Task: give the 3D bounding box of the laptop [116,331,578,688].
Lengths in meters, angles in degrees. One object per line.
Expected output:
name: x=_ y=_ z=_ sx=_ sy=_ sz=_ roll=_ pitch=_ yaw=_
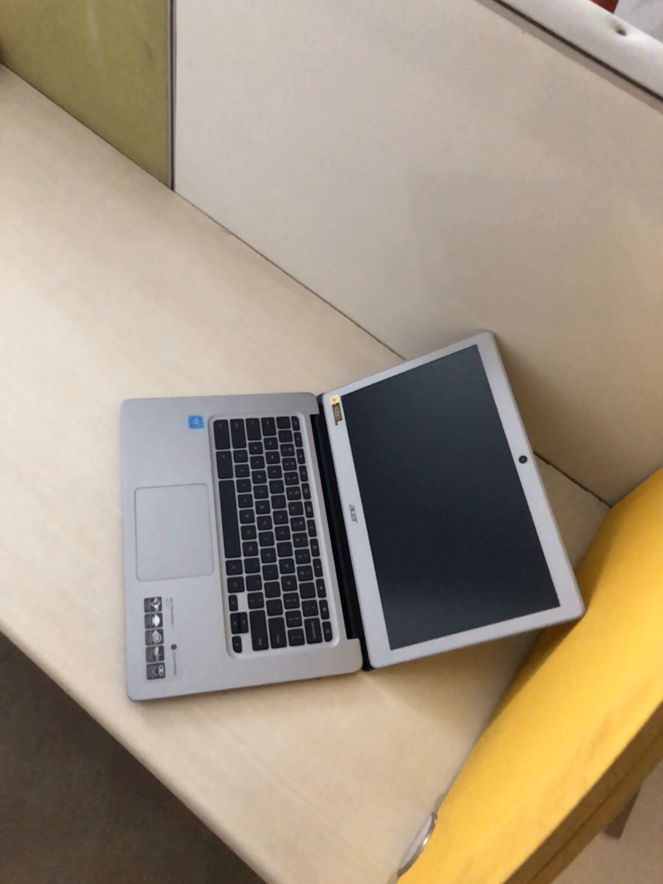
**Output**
laptop: x=-0.007 y=0.054 z=0.752 sx=0.409 sy=0.124 sz=0.320 roll=-3 pitch=61 yaw=-12
